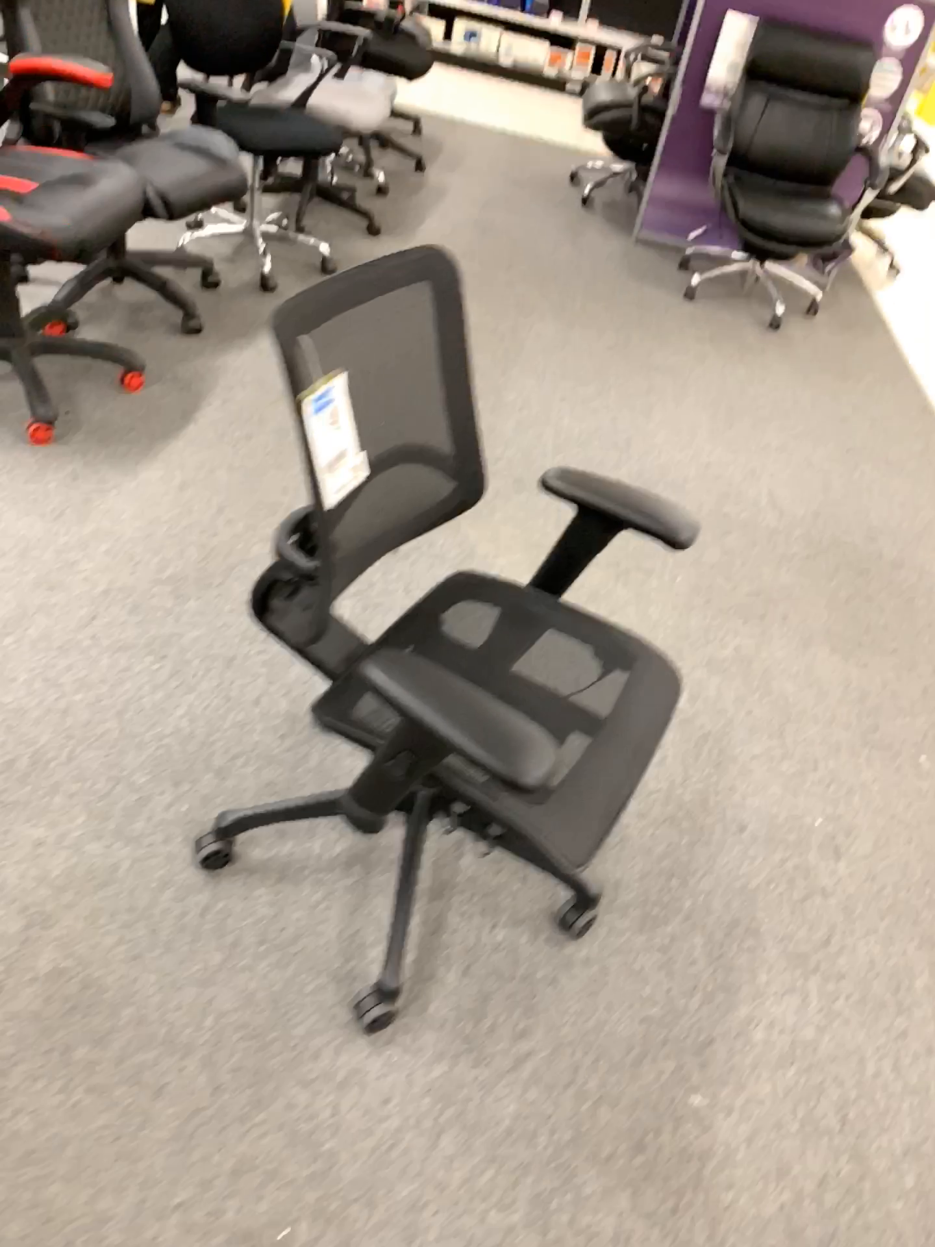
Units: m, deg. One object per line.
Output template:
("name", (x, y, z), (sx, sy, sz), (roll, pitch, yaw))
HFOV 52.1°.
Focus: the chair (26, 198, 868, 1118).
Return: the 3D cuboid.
("chair", (0.000, 0.000, 1.363), (0.760, 0.806, 0.763), (22, 40, 10))
